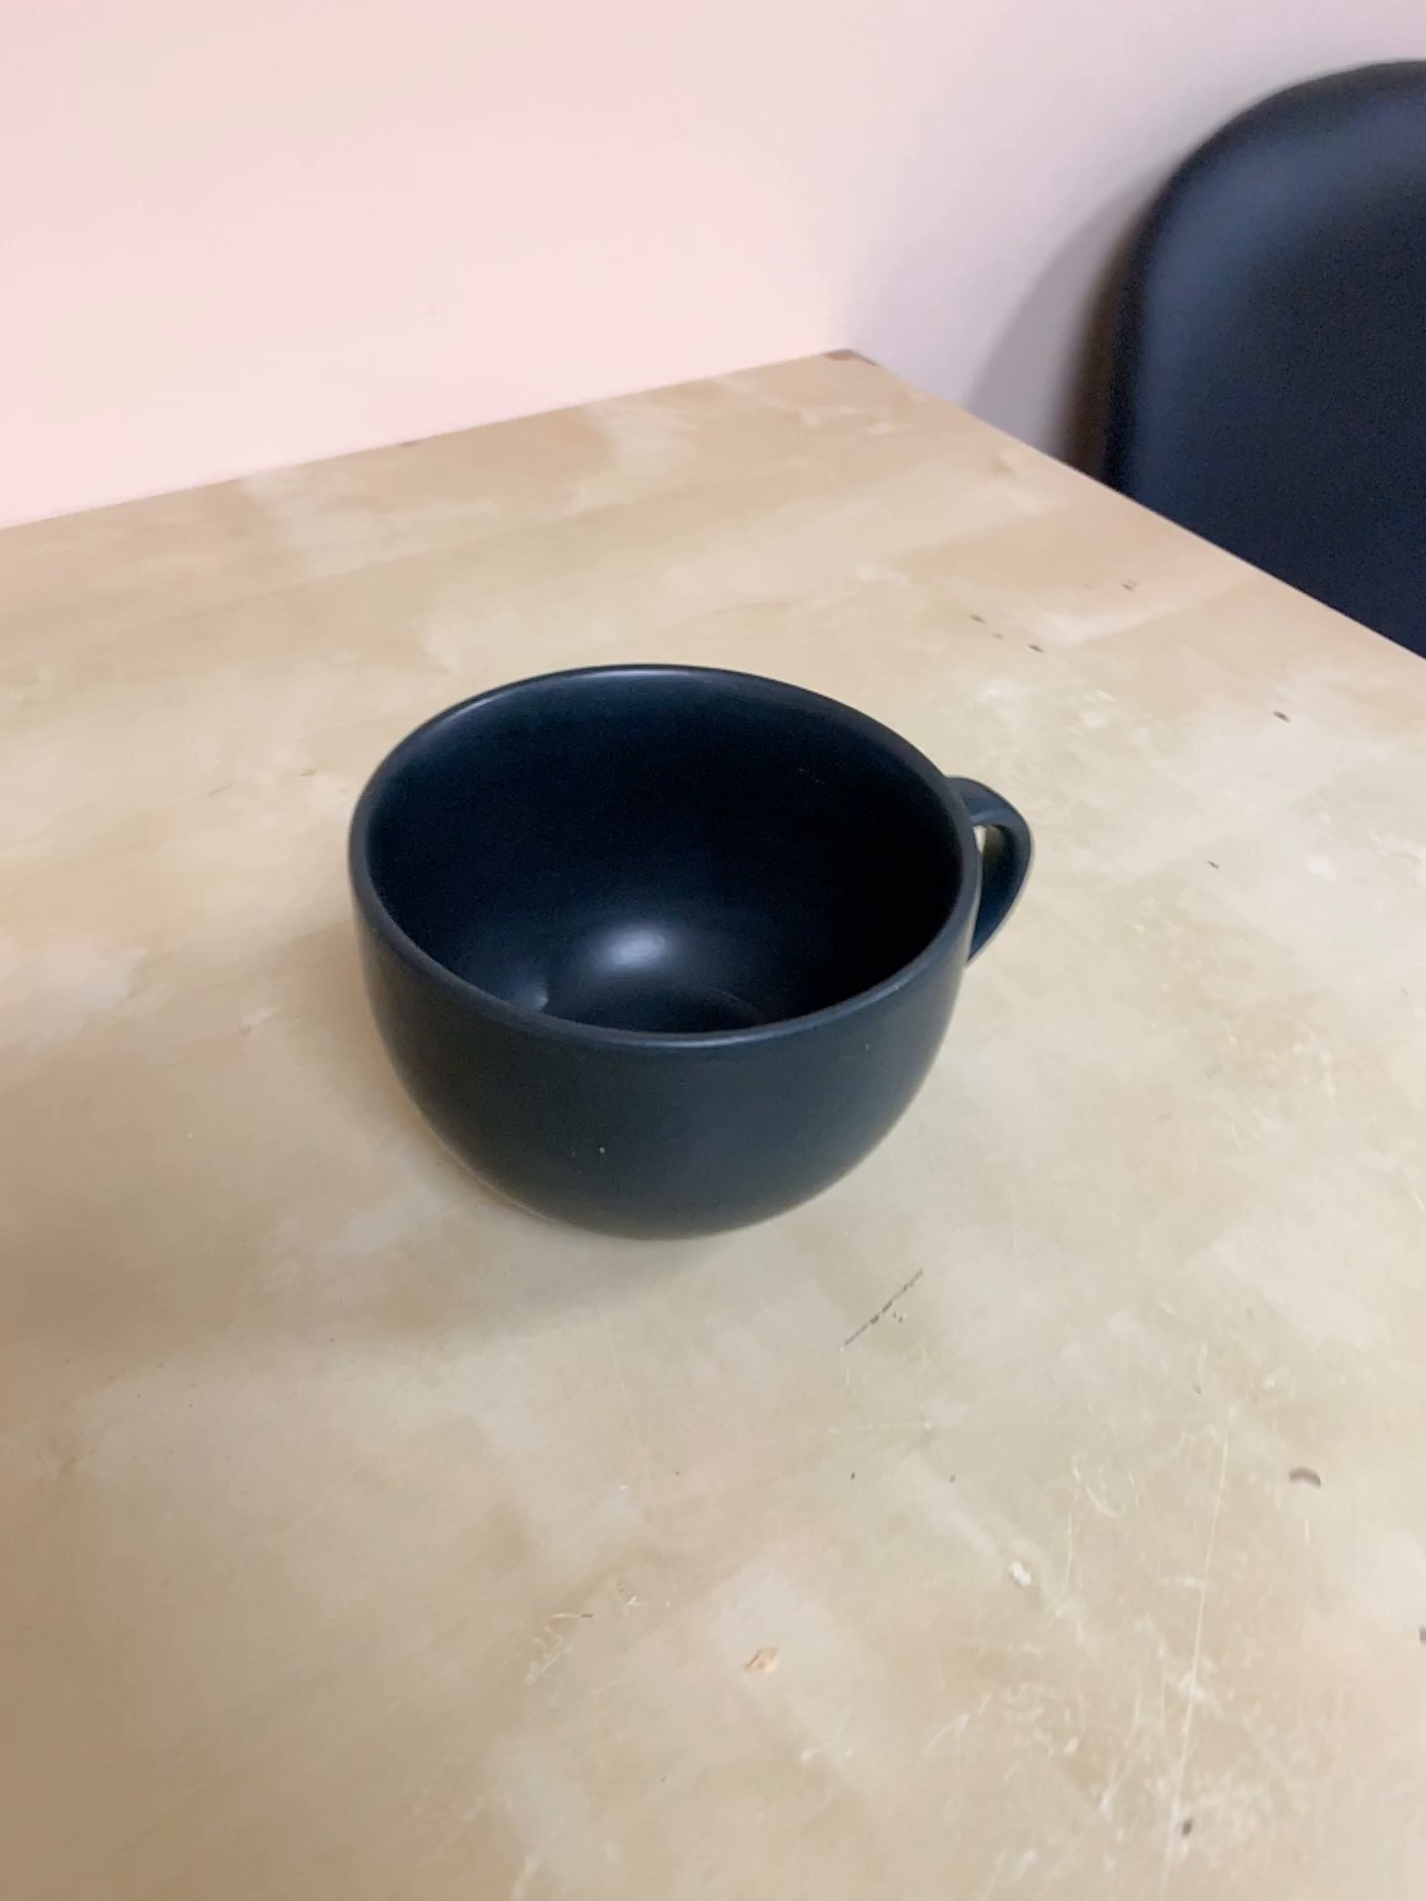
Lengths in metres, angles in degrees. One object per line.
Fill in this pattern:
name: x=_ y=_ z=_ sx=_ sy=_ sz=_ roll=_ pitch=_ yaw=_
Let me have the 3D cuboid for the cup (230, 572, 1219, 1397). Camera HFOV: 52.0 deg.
cup: x=-0.001 y=-0.008 z=0.328 sx=0.159 sy=0.068 sz=0.136 roll=-22 pitch=48 yaw=-27
